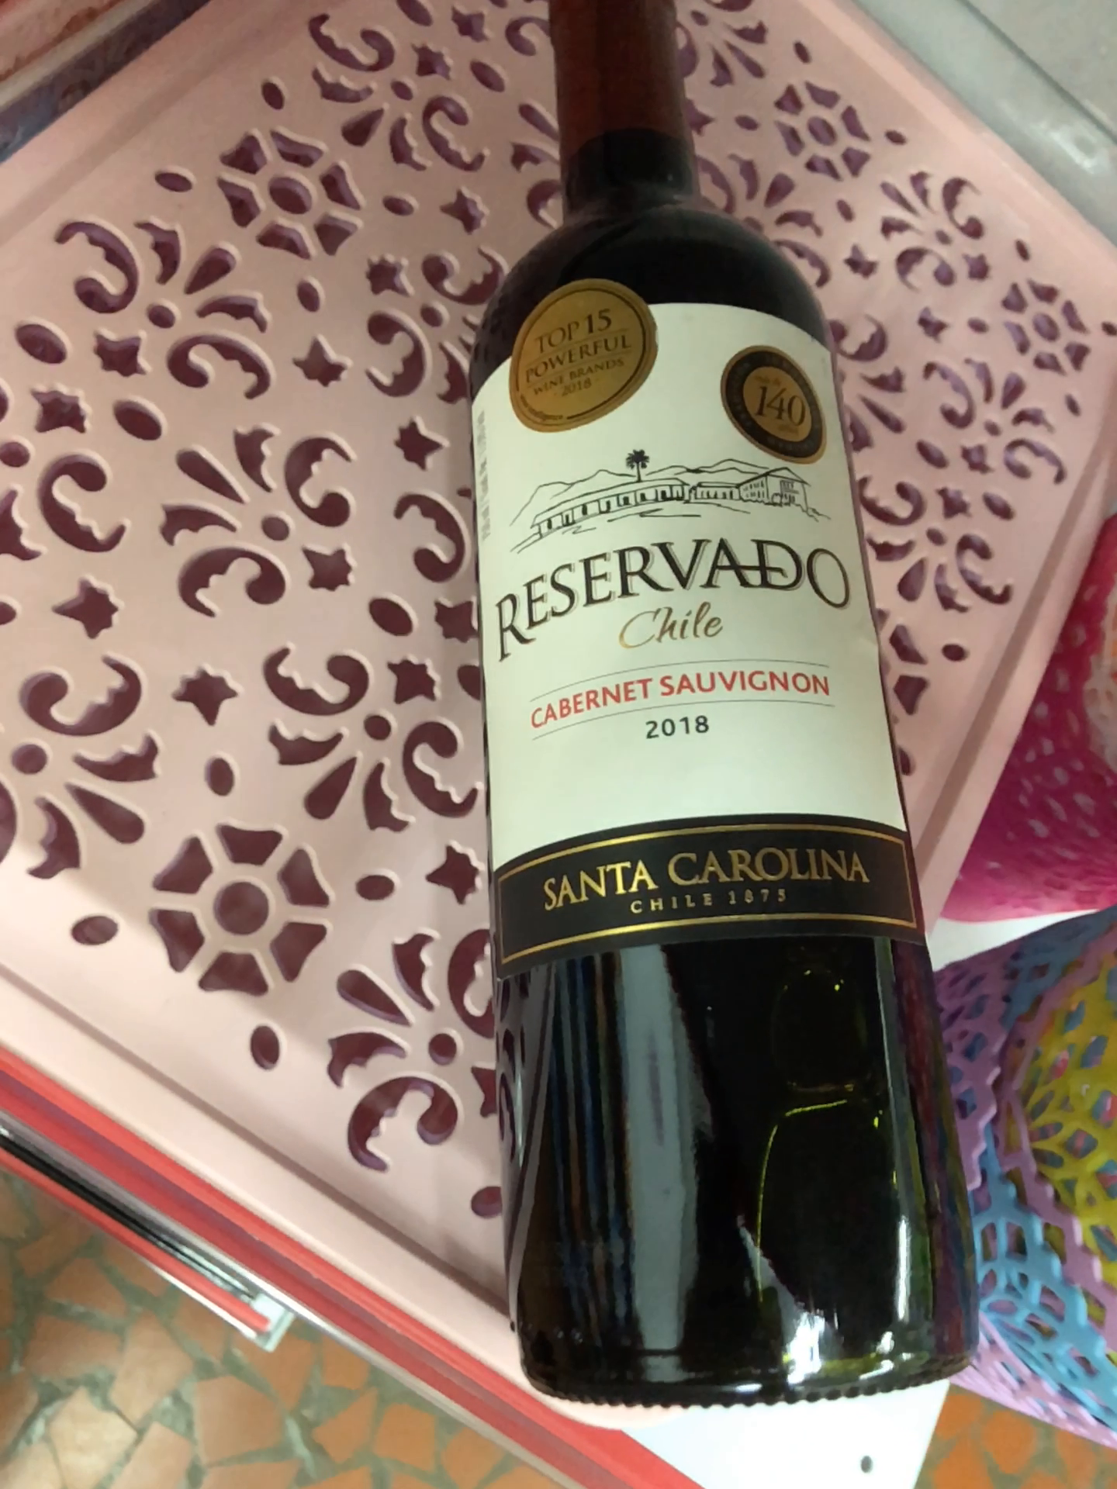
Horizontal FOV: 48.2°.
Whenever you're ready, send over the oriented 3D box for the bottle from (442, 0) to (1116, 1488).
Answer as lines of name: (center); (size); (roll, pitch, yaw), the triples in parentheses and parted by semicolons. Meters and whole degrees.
bottle: (0.041, -0.054, 0.253); (0.110, 0.070, 0.351); (4, 70, -20)
